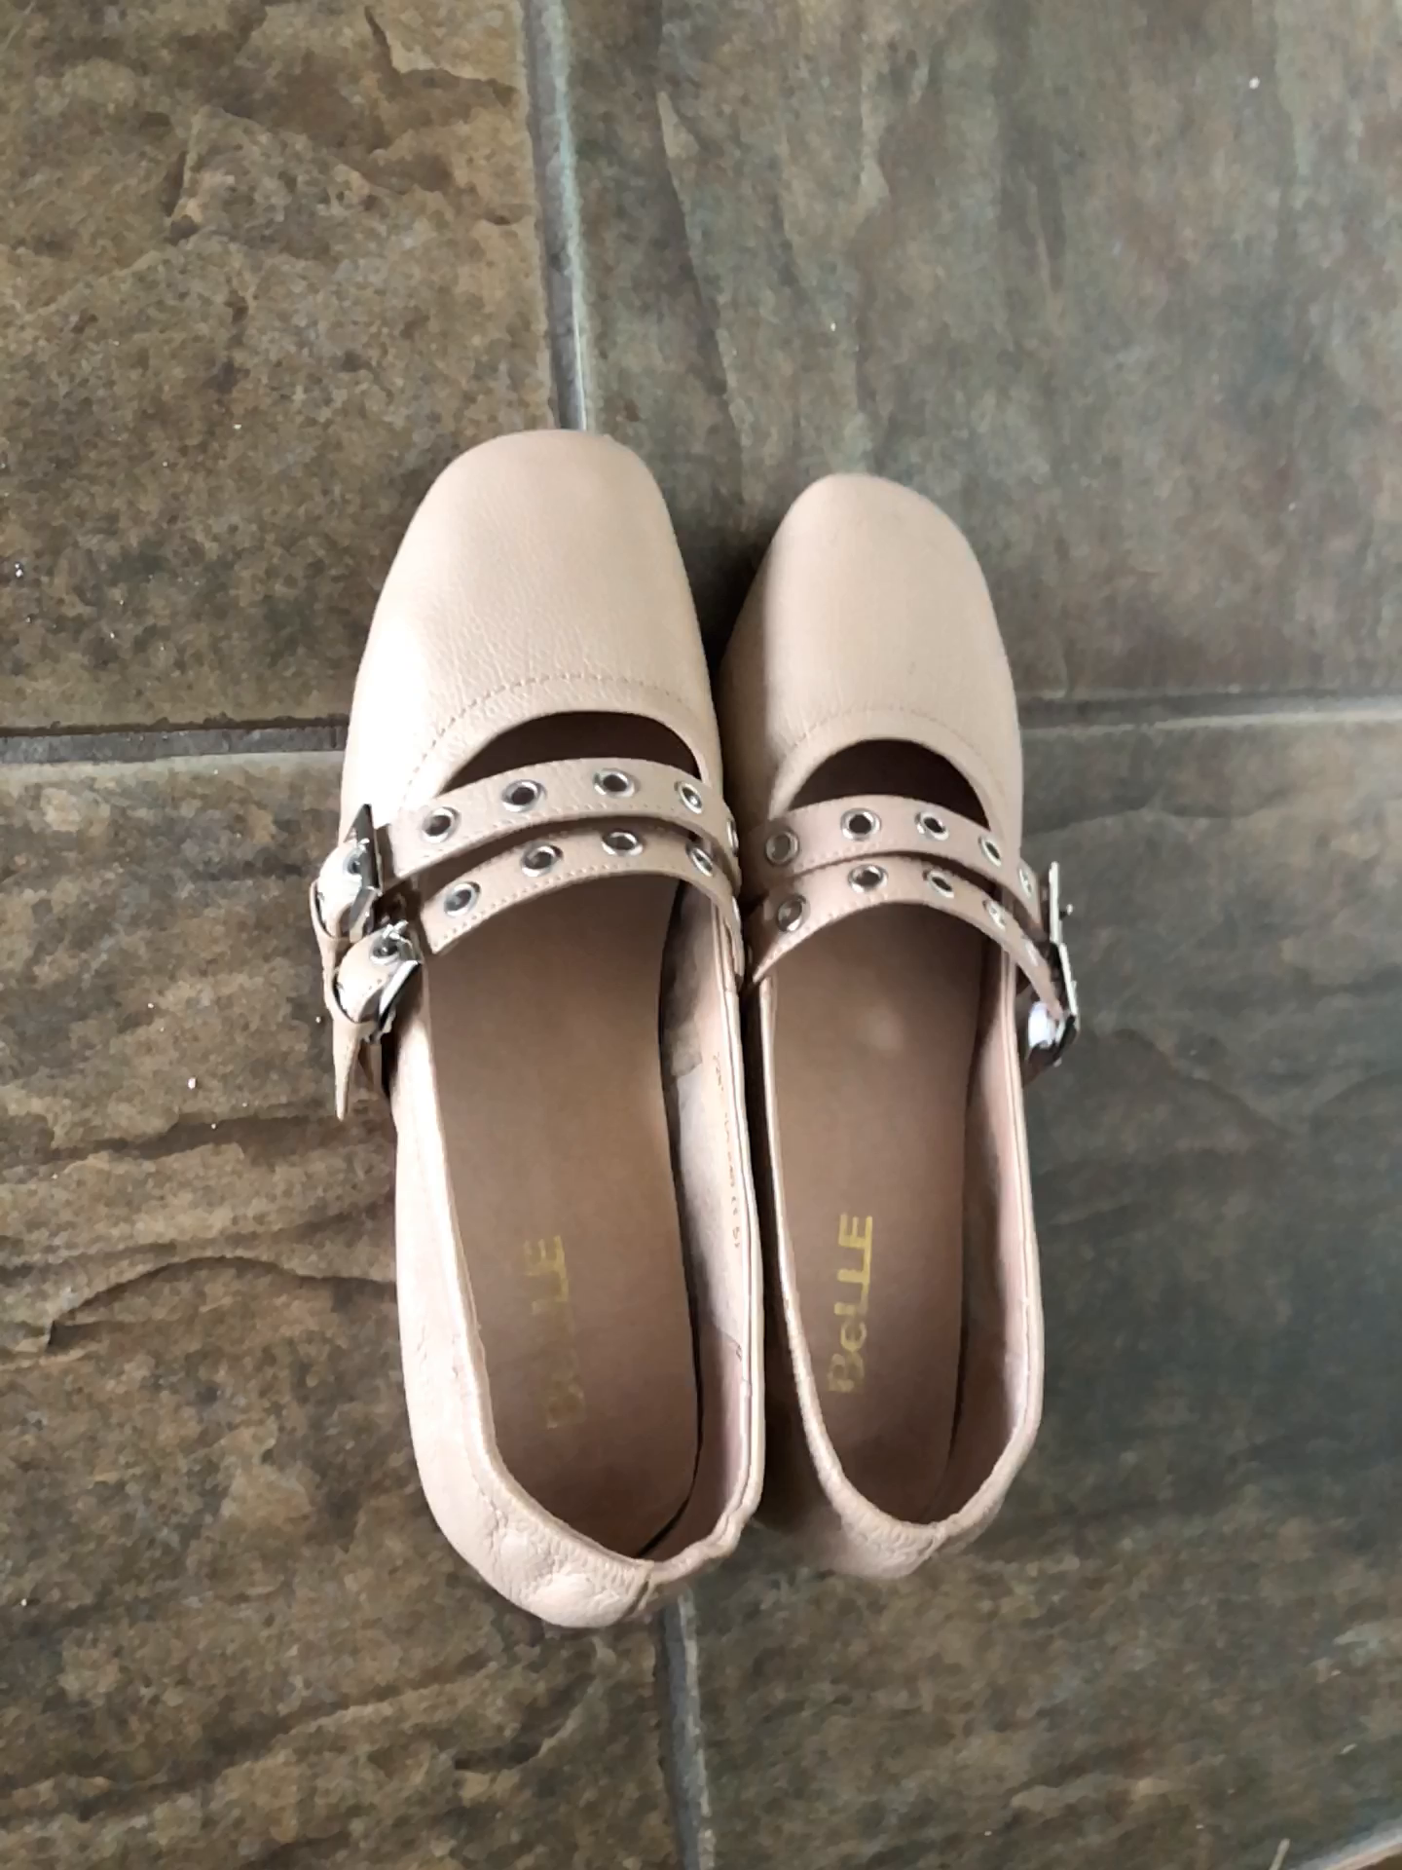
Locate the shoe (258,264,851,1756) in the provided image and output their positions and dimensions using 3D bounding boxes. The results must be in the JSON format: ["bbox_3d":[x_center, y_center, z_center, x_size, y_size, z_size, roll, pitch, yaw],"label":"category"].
[{"bbox_3d":[-0.034,0.012,0.320,0.100,0.090,0.250,0,90,-22],"label":"shoe"}]

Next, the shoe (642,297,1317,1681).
[{"bbox_3d":[0.056,0.012,0.338,0.090,0.090,0.250,6,87,-22],"label":"shoe"}]
